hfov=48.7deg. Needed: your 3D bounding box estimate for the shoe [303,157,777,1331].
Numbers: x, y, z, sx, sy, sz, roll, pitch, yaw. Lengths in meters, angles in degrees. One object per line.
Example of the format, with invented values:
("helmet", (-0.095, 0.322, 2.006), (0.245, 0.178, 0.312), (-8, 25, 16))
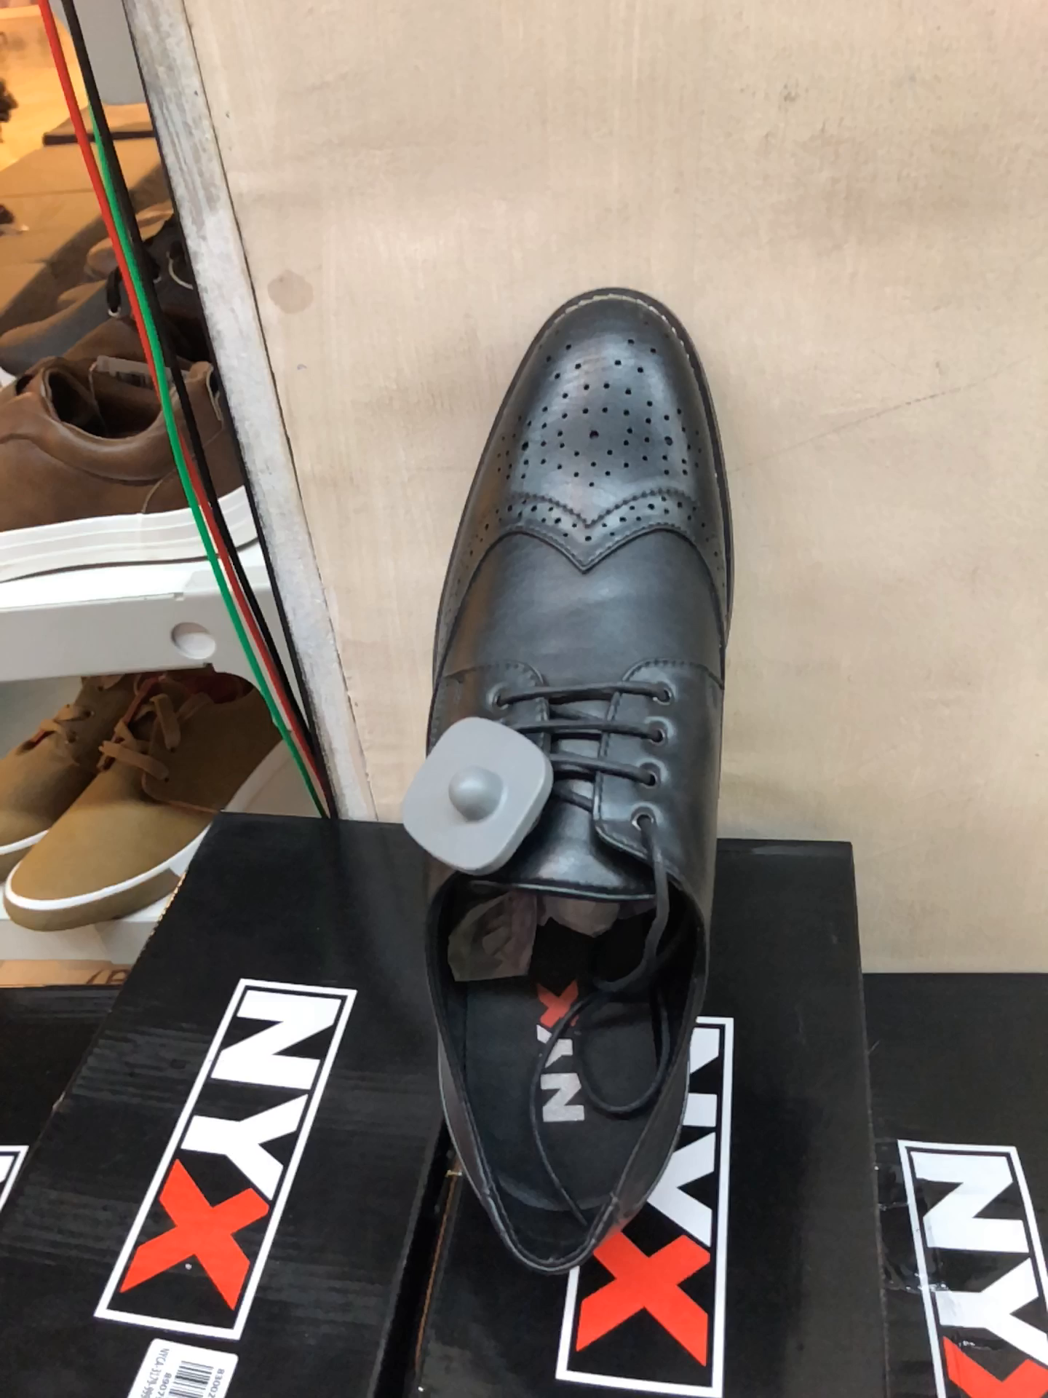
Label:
("shoe", (0.012, 0.007, 0.353), (0.106, 0.297, 0.106), (3, -4, 8))
